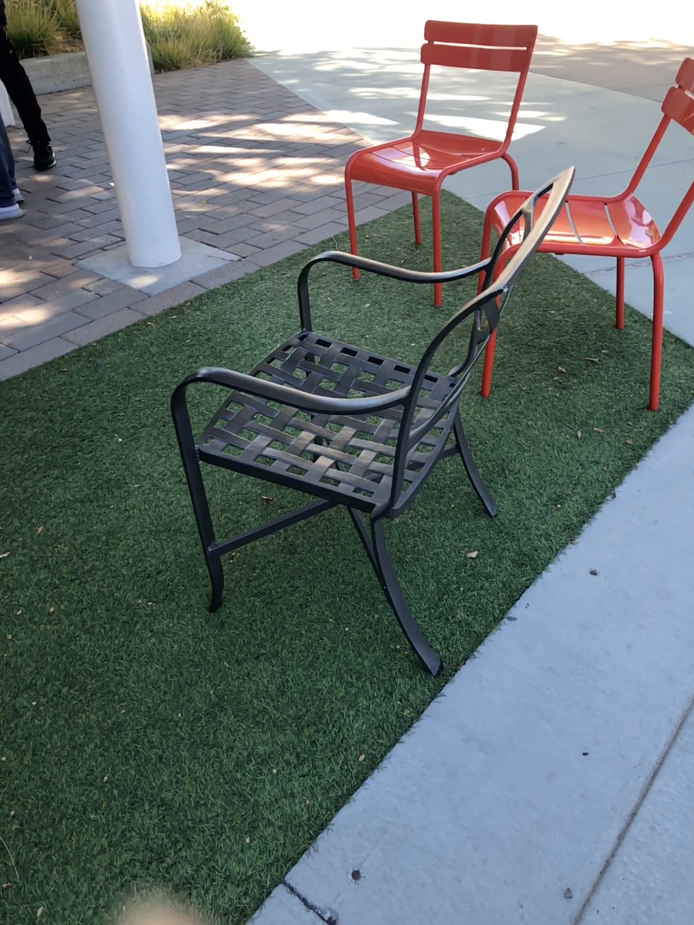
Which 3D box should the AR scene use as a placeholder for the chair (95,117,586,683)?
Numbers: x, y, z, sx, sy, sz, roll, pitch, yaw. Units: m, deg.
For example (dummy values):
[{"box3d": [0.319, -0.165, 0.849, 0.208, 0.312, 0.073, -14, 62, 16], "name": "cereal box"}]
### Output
[{"box3d": [0.031, -0.161, 1.529, 0.641, 0.806, 0.643, 13, 38, 16], "name": "chair"}]
